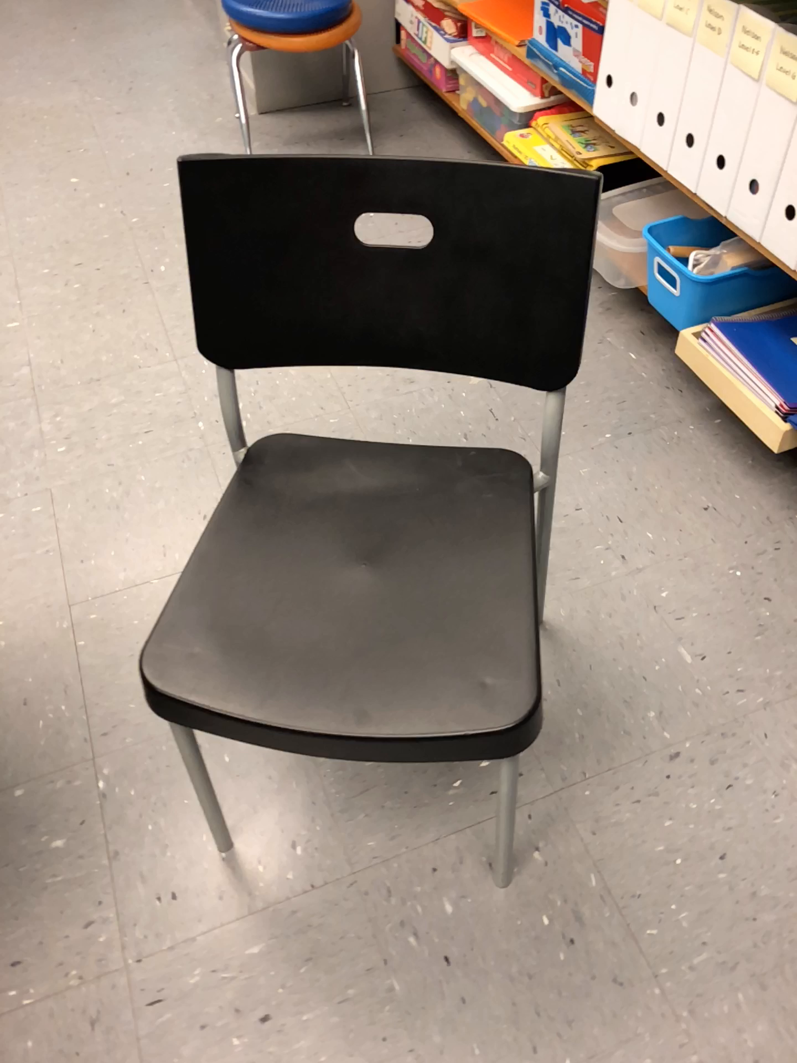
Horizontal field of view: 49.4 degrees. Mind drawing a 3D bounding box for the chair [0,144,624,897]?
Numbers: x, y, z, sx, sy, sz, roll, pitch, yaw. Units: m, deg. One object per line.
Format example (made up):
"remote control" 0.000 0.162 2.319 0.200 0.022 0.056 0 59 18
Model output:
"chair" -0.032 0.031 1.049 0.465 0.777 0.475 5 48 7
